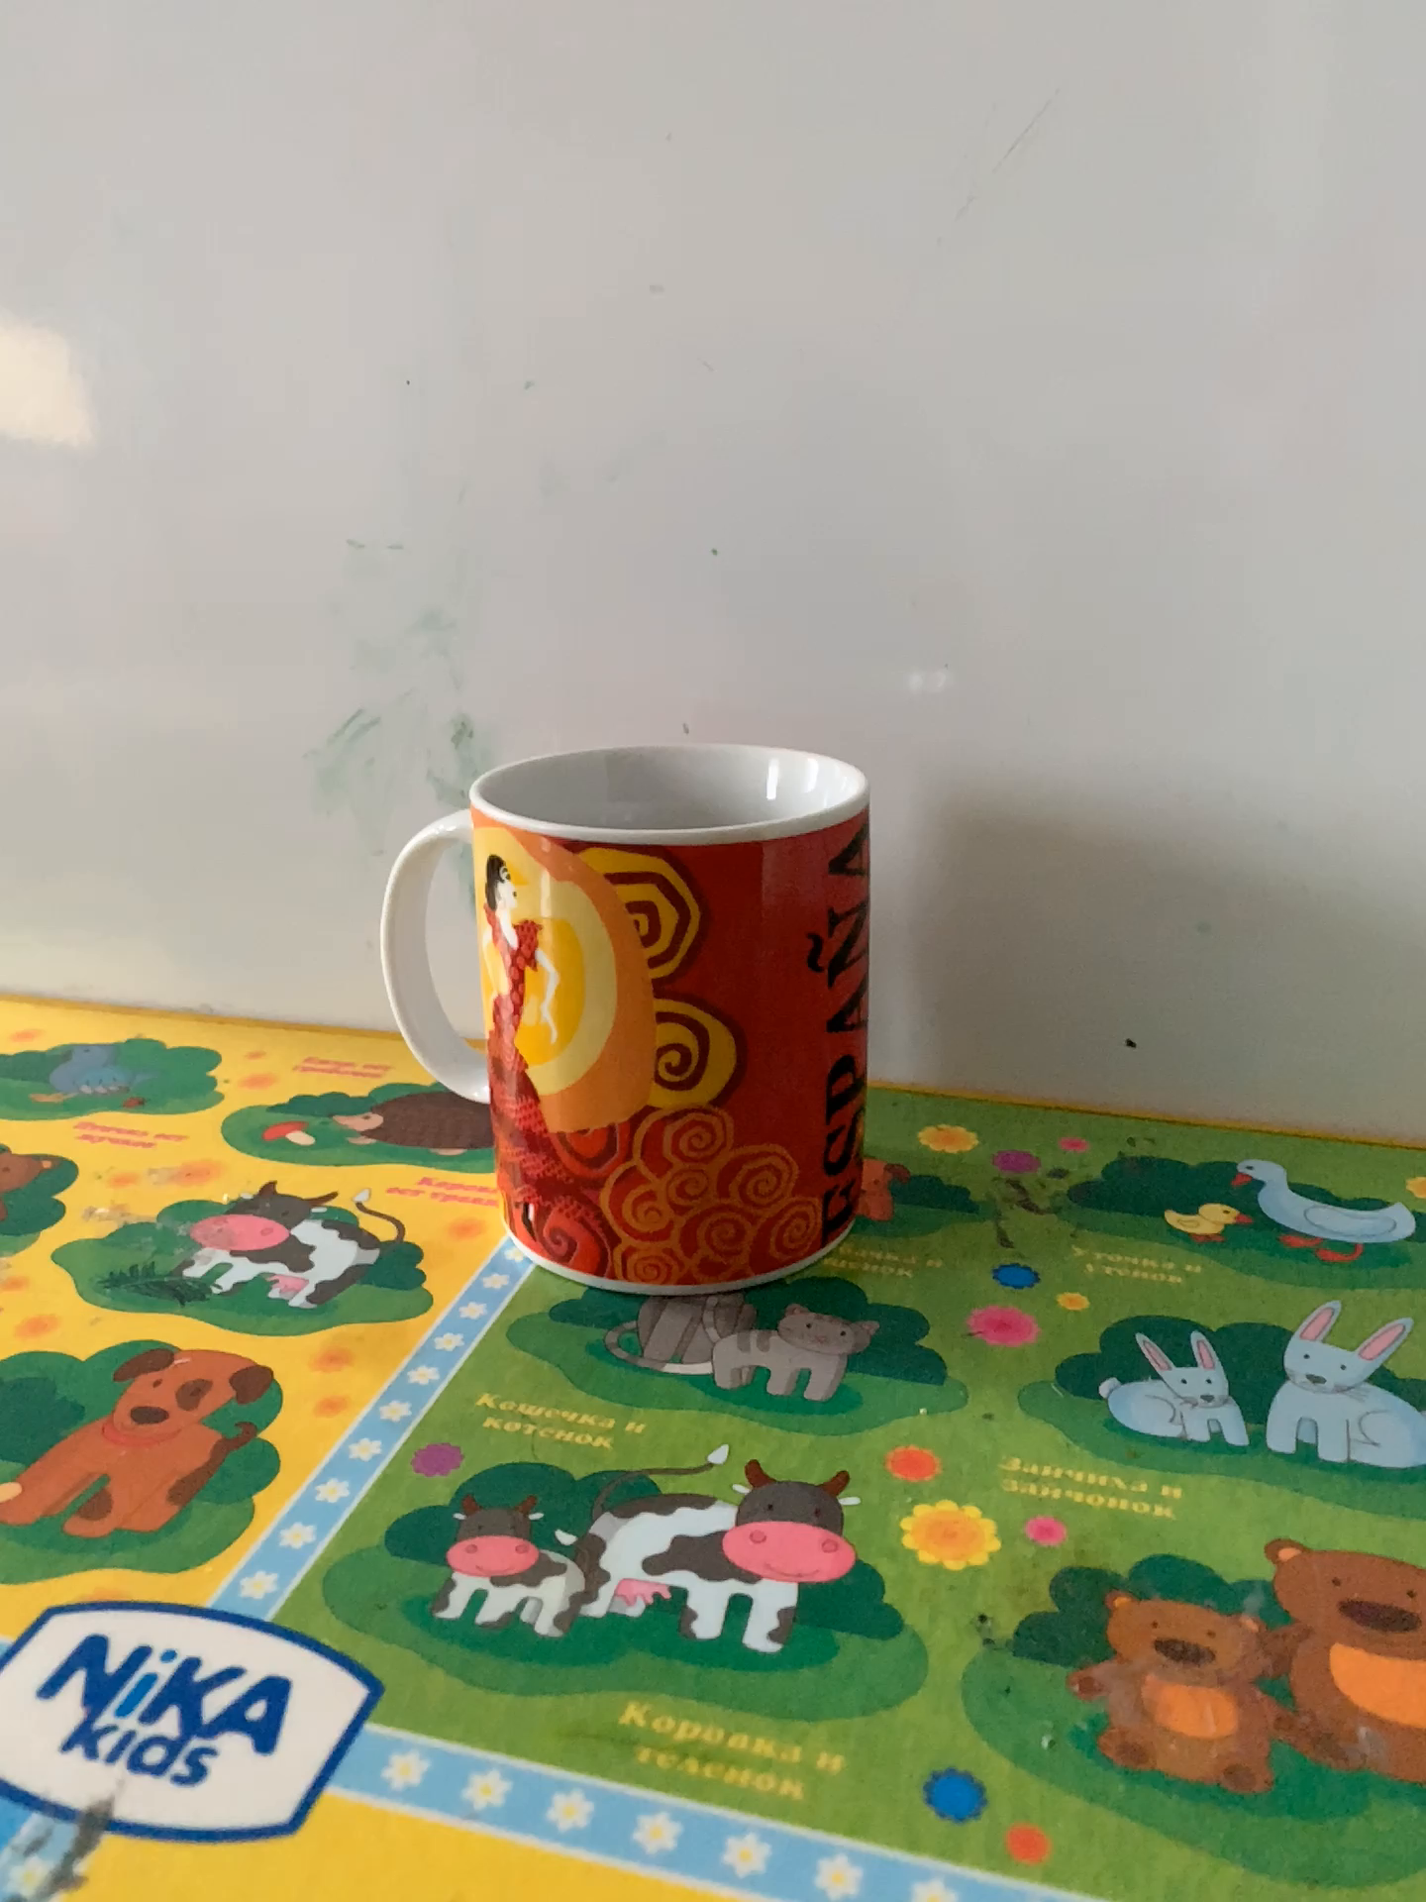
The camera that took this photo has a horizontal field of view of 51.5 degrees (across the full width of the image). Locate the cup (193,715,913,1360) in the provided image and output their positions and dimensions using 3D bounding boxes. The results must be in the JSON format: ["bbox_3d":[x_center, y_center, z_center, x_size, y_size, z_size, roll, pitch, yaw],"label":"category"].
[{"bbox_3d":[-0.026,0.009,0.308,0.118,0.098,0.085,5,19,17],"label":"cup"}]
